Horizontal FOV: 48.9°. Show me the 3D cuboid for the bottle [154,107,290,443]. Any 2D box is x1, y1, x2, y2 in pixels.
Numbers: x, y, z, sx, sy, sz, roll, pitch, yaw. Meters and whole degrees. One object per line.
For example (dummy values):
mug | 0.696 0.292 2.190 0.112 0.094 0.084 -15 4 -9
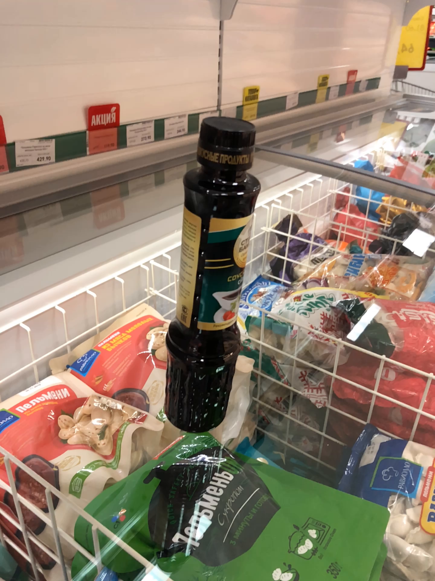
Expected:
bottle | -0.001 -0.003 0.303 0.053 0.199 0.058 4 29 -2
